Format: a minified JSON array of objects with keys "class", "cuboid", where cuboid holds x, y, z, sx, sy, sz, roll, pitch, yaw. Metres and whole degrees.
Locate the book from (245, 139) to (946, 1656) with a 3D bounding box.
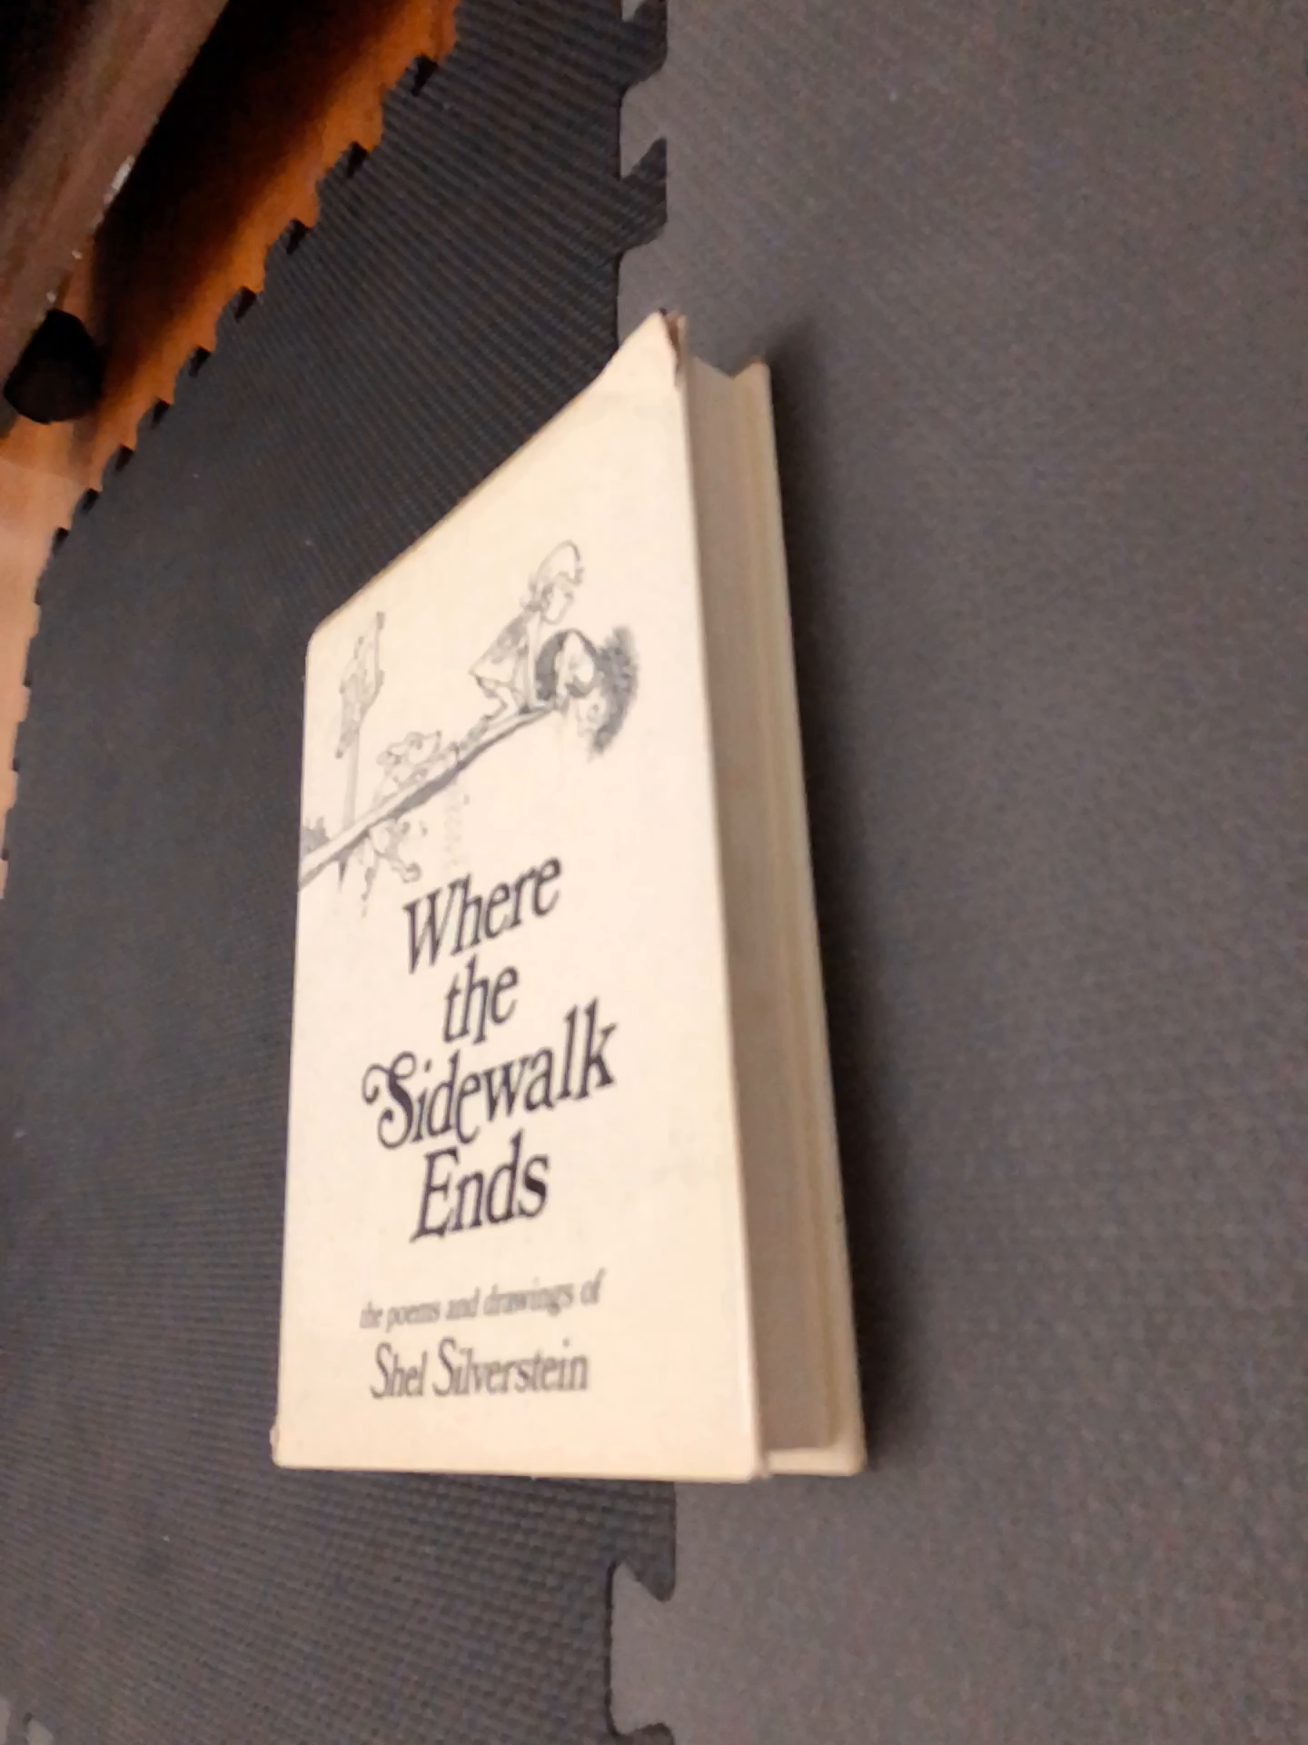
[{"class":"book","cuboid":[-0.031,0.010,0.335,0.201,0.030,0.280,-24,61,48]}]
